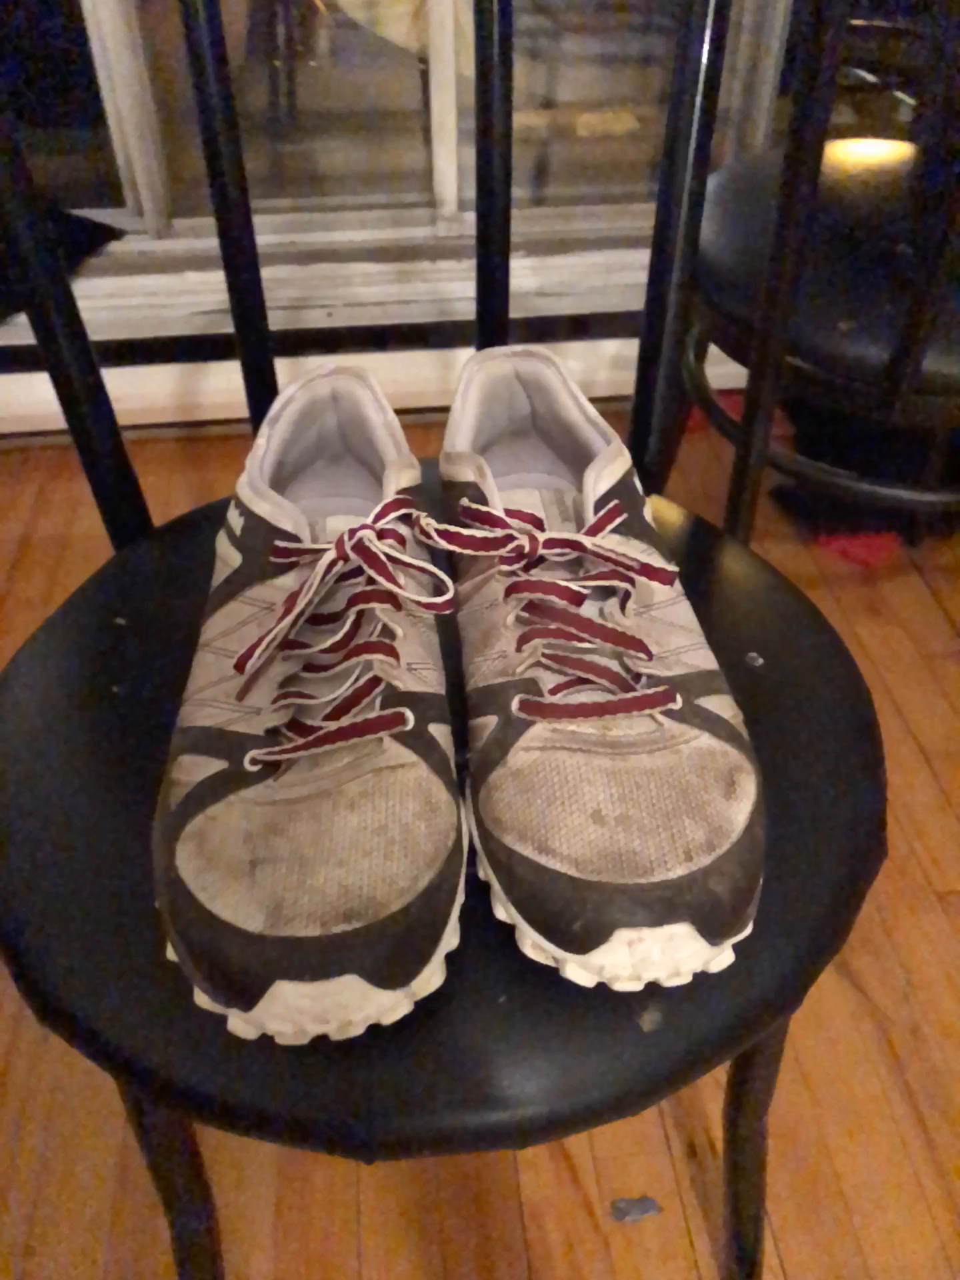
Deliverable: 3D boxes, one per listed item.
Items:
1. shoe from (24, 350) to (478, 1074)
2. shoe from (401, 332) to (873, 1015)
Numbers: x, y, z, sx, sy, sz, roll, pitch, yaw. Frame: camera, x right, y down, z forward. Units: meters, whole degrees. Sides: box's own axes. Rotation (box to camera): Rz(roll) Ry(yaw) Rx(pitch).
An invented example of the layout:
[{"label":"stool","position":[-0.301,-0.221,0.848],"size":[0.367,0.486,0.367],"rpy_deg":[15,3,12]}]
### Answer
[{"label":"shoe","position":[-0.071,0.001,0.390],"size":[0.110,0.089,0.272],"rpy_deg":[-5,42,-5]},{"label":"shoe","position":[0.035,-0.012,0.416],"size":[0.110,0.089,0.282],"rpy_deg":[-5,42,-5]}]
